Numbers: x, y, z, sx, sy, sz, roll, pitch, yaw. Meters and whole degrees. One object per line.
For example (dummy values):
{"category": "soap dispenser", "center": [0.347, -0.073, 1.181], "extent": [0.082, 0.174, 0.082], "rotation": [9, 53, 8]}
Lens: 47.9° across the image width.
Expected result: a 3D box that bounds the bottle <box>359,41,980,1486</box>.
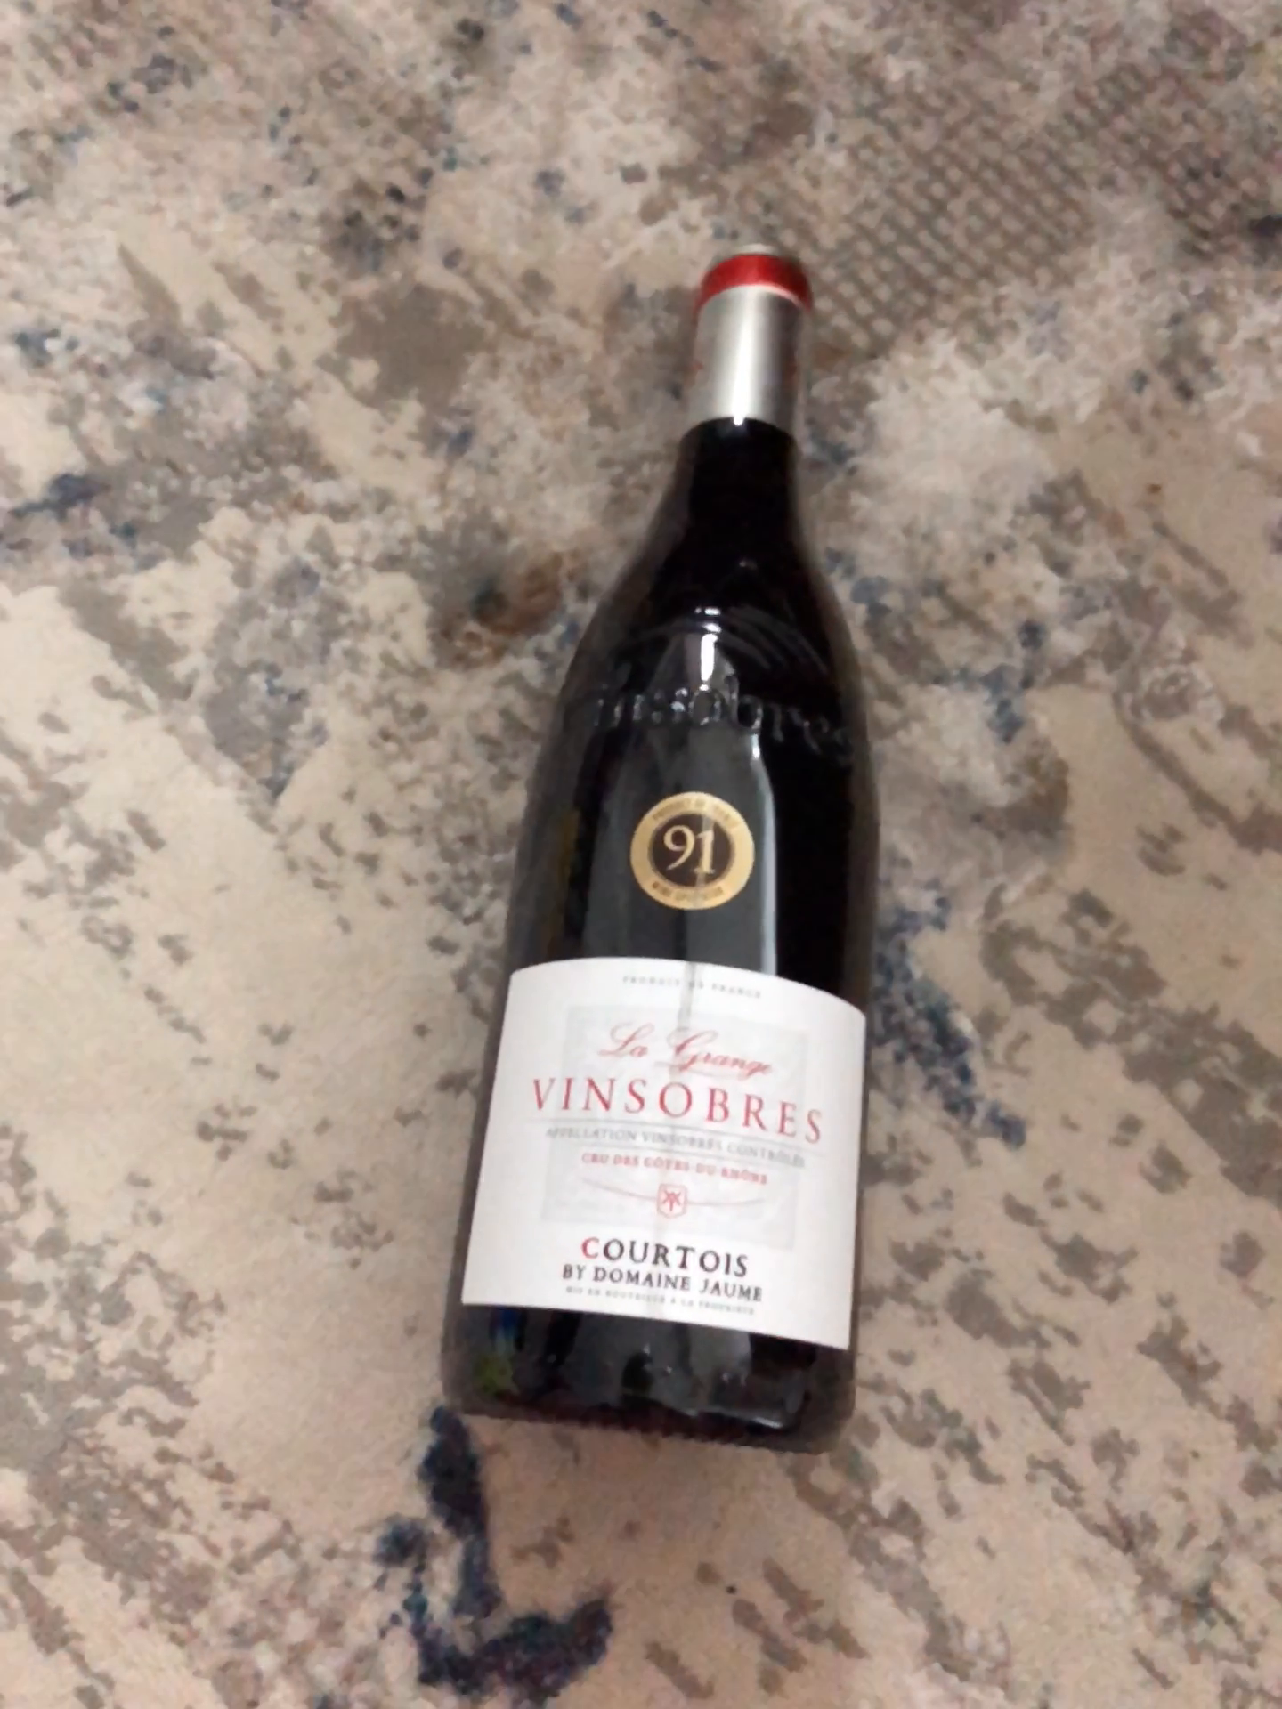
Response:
{"category": "bottle", "center": [0.014, -0.027, 0.328], "extent": [0.090, 0.100, 0.300], "rotation": [8, 69, -1]}
